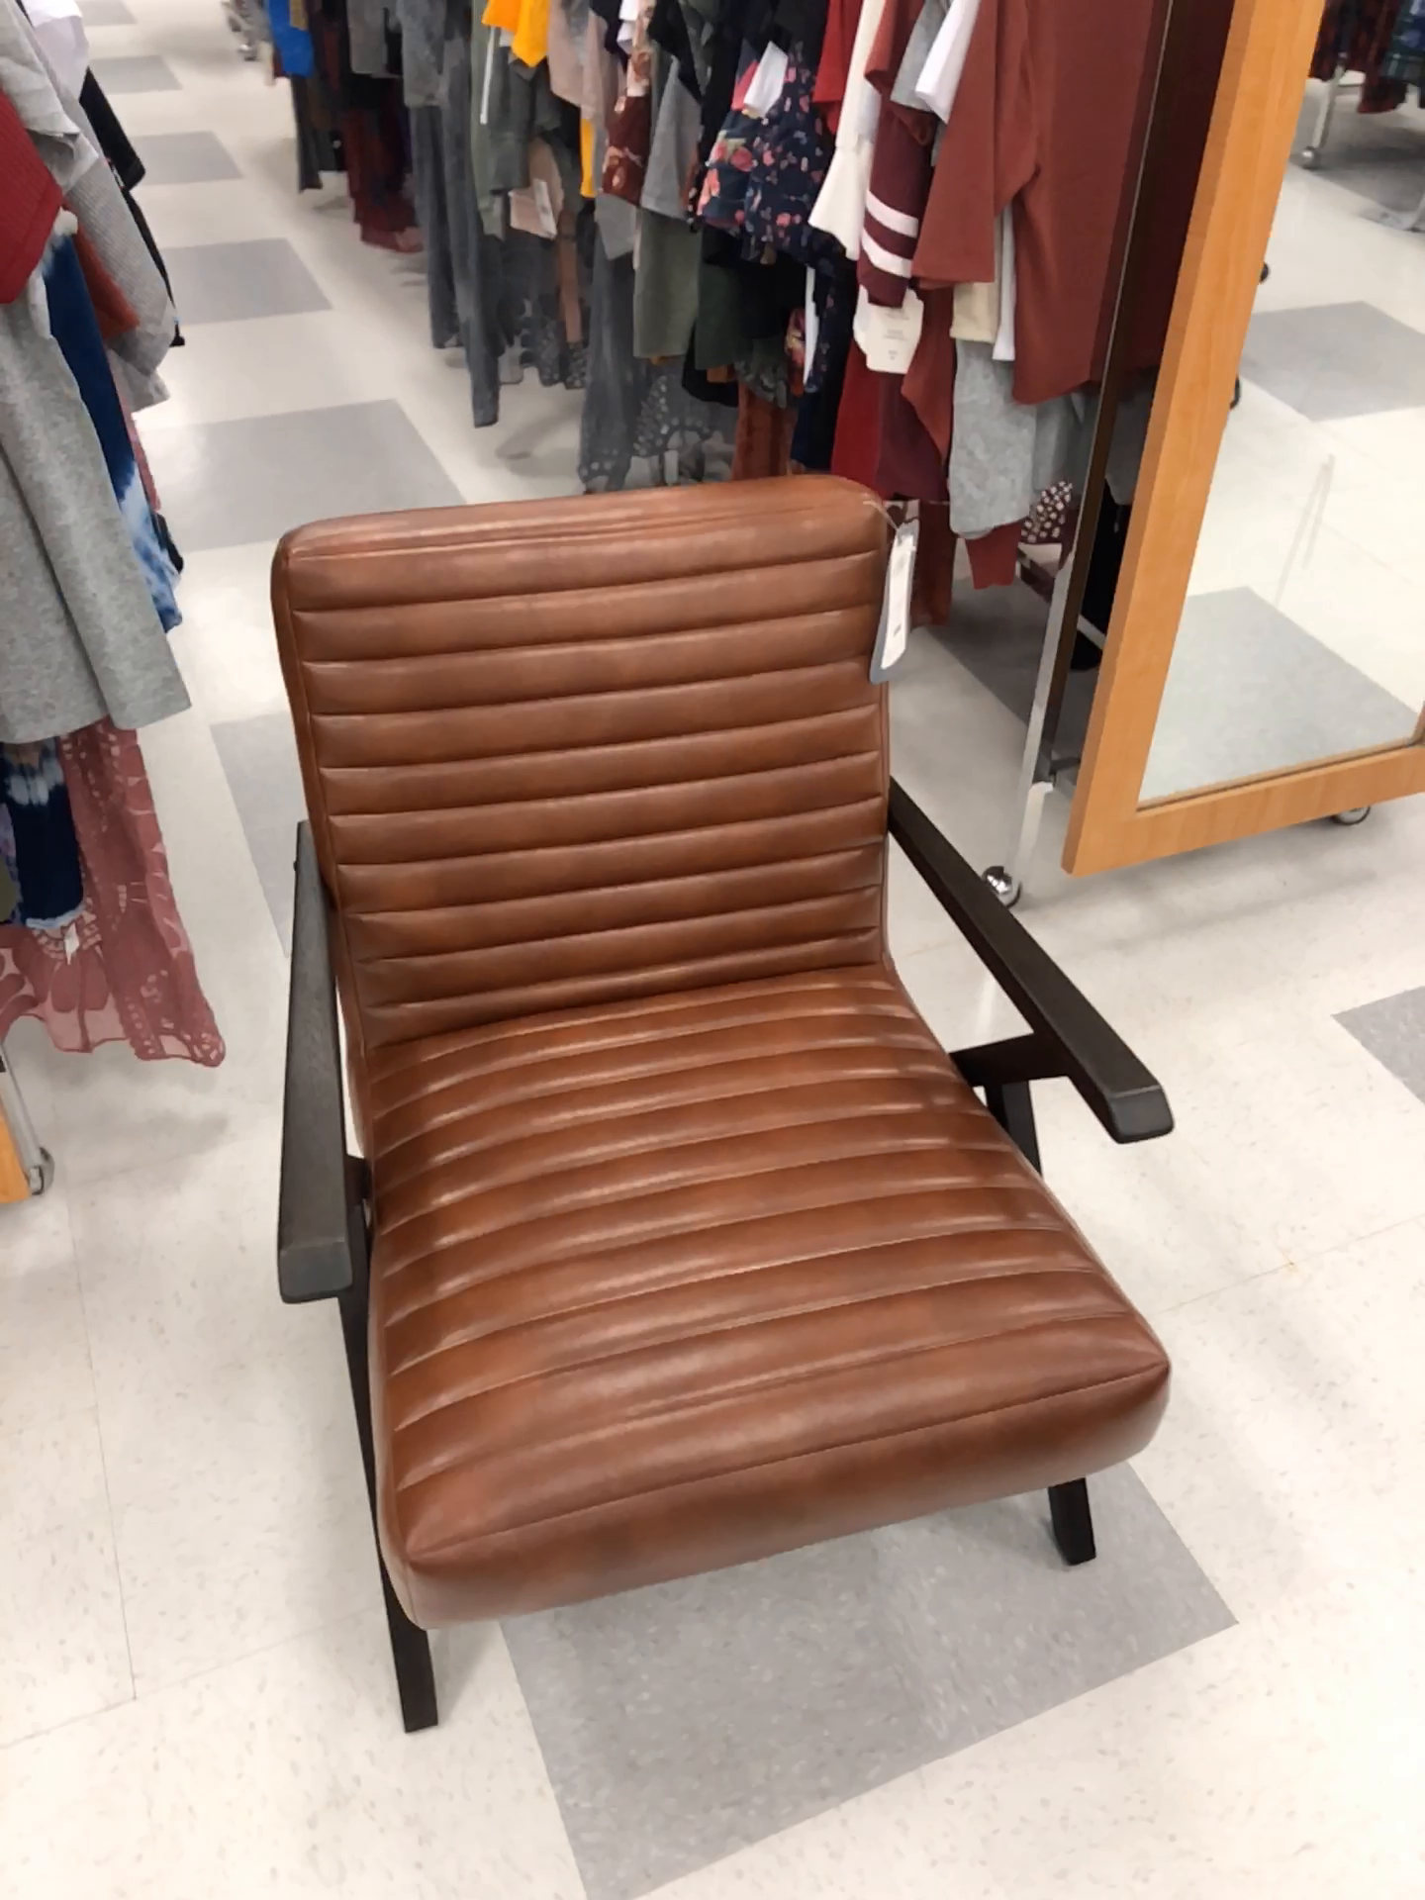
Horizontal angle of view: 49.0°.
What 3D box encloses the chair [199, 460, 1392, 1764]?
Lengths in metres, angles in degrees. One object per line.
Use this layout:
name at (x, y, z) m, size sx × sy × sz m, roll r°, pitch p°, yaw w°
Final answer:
chair at (-0.017, 0.108, 1.346) m, size 0.676 × 0.756 × 0.680 m, roll -9°, pitch 41°, yaw -12°
